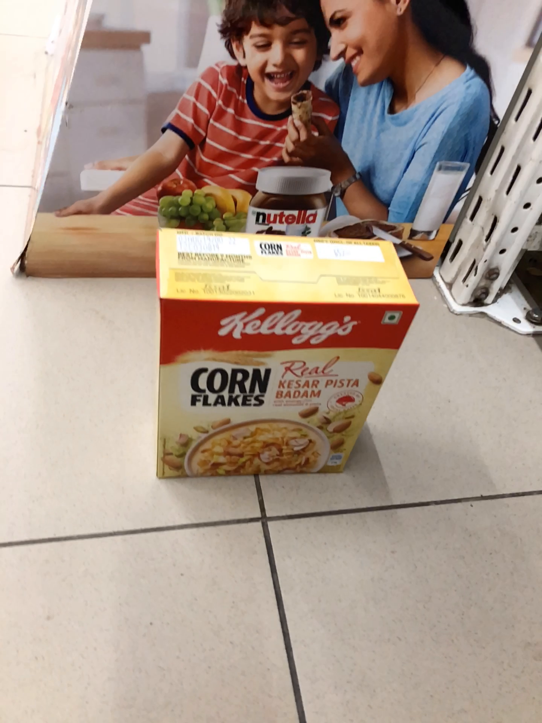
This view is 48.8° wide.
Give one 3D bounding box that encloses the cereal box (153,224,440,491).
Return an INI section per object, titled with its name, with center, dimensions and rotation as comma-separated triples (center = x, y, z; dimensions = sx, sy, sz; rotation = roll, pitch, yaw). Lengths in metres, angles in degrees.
[cereal box]
center = 0.001, 0.006, 0.374
dimensions = 0.140, 0.169, 0.060
rotation = -1, 48, -14
